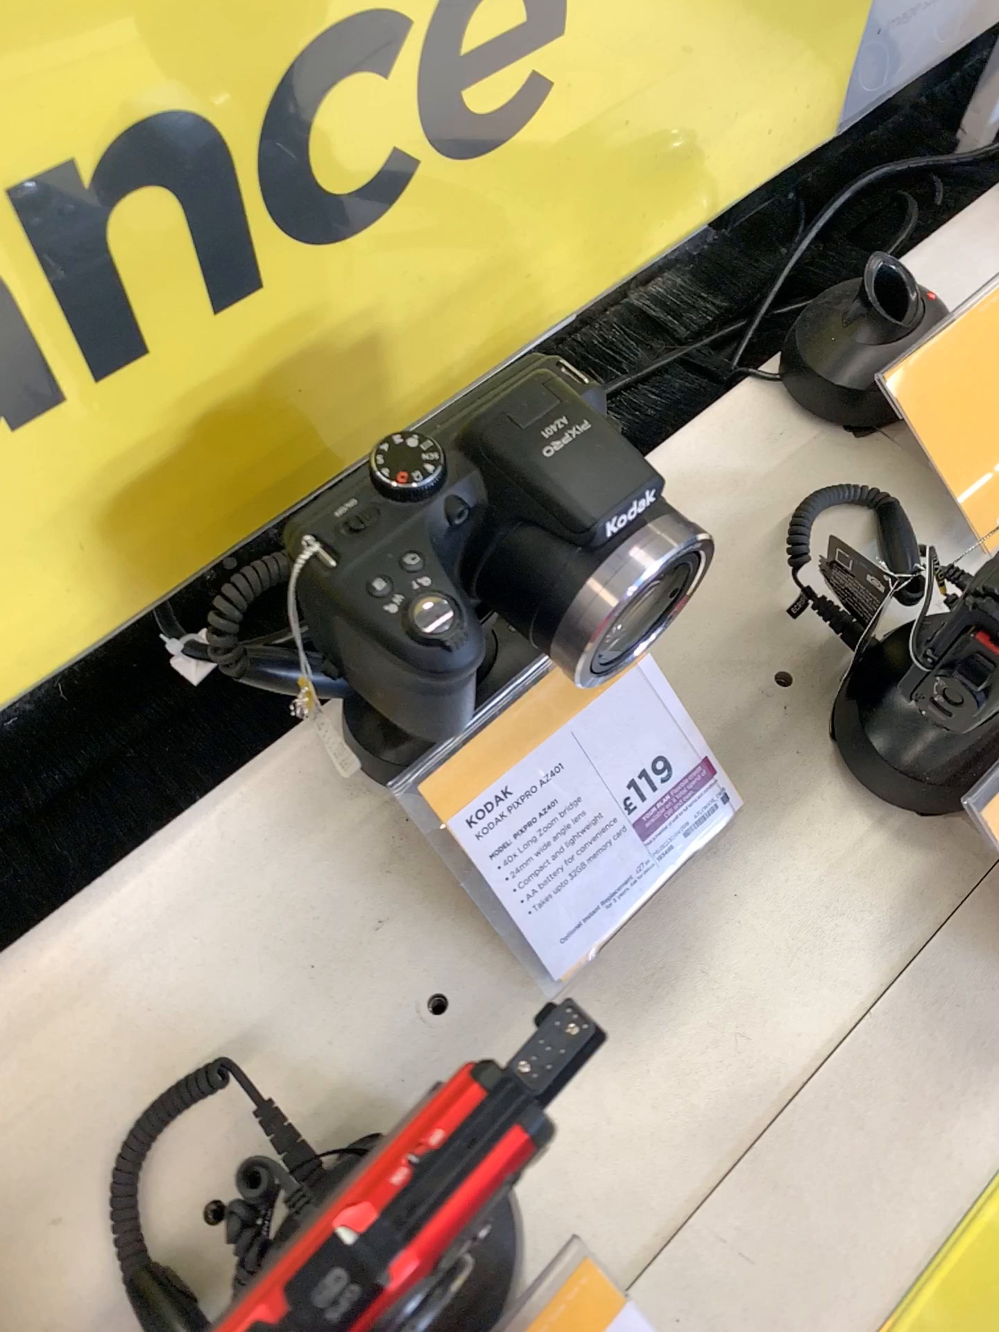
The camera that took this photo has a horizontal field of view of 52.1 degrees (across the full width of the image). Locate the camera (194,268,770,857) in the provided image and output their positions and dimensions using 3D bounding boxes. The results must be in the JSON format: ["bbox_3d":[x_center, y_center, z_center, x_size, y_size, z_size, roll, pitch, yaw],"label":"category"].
[{"bbox_3d":[-0.004,-0.031,0.321,0.130,0.099,0.090,-40,70,-20],"label":"camera"}]
